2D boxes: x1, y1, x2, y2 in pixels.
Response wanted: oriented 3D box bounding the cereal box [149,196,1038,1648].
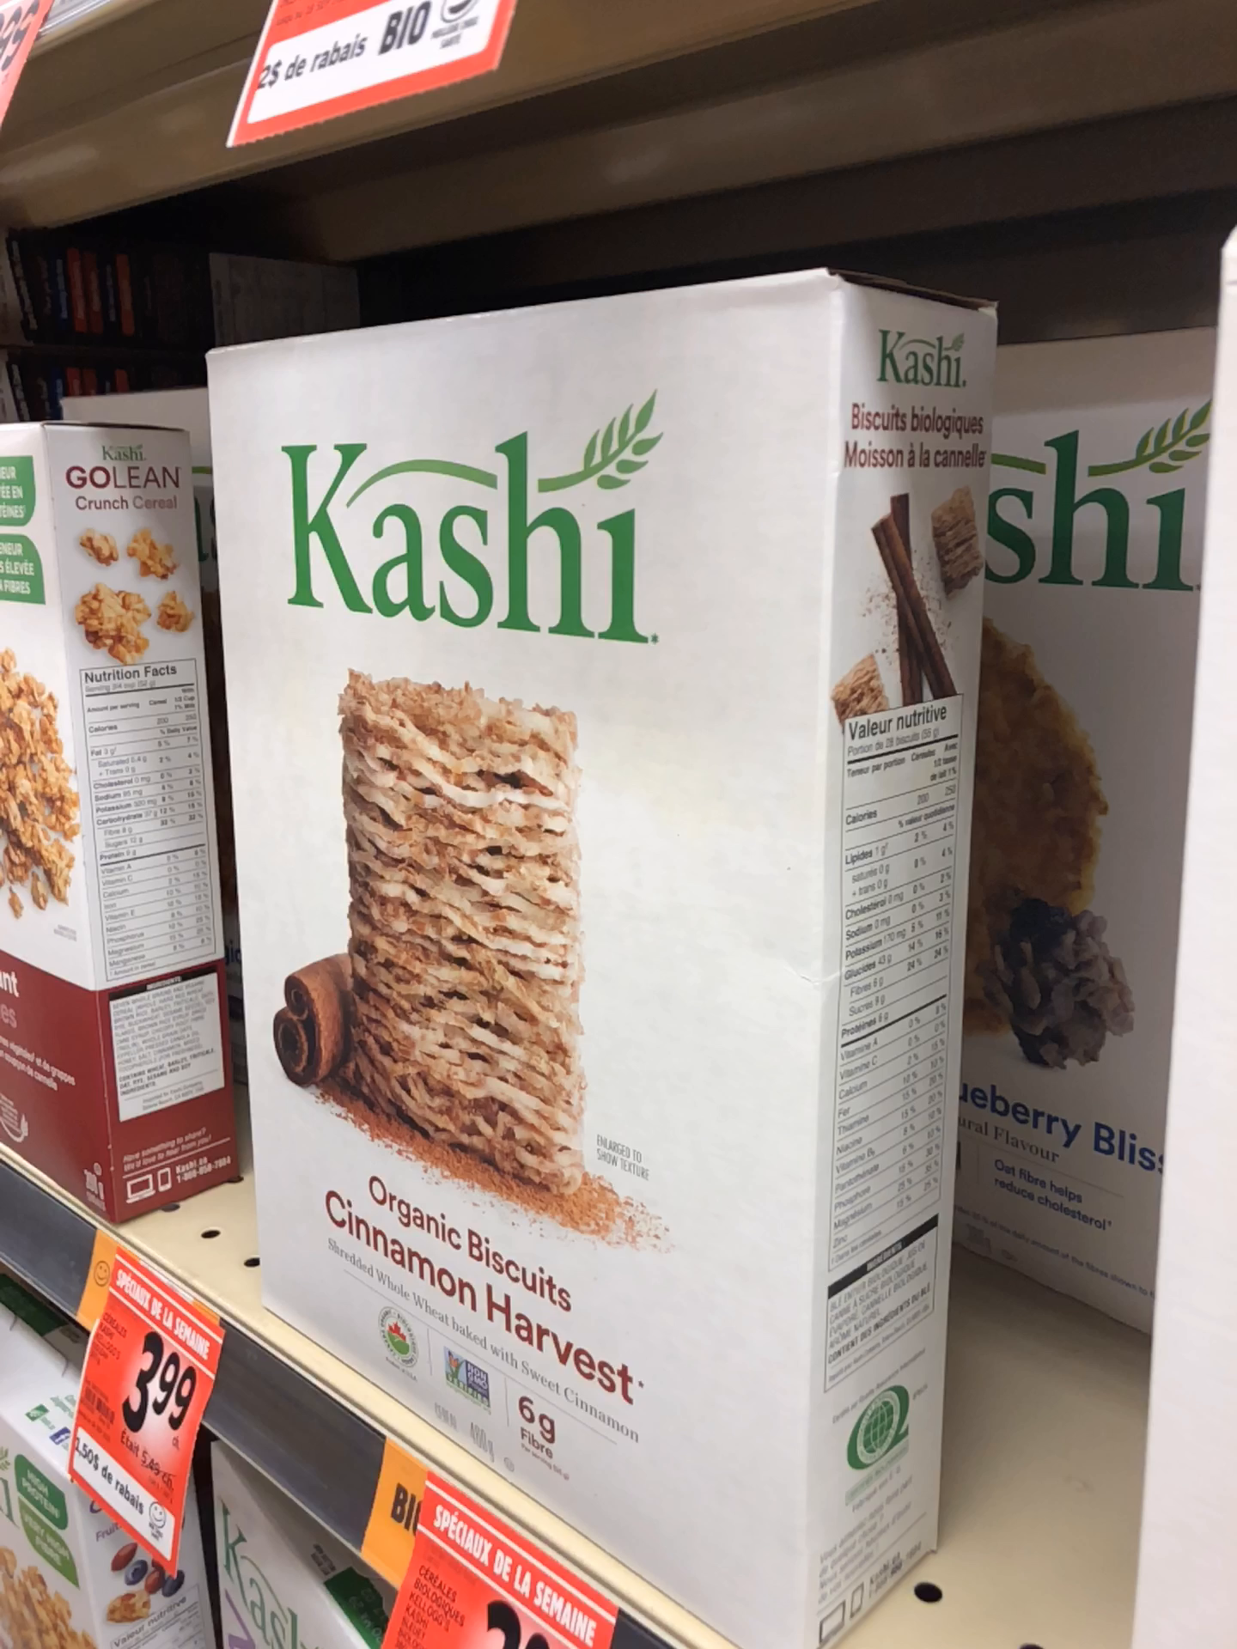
[{"bbox_3d":[-0.015,0.015,0.326,0.200,0.269,0.070,12,20,43],"label":"cereal box"}]
